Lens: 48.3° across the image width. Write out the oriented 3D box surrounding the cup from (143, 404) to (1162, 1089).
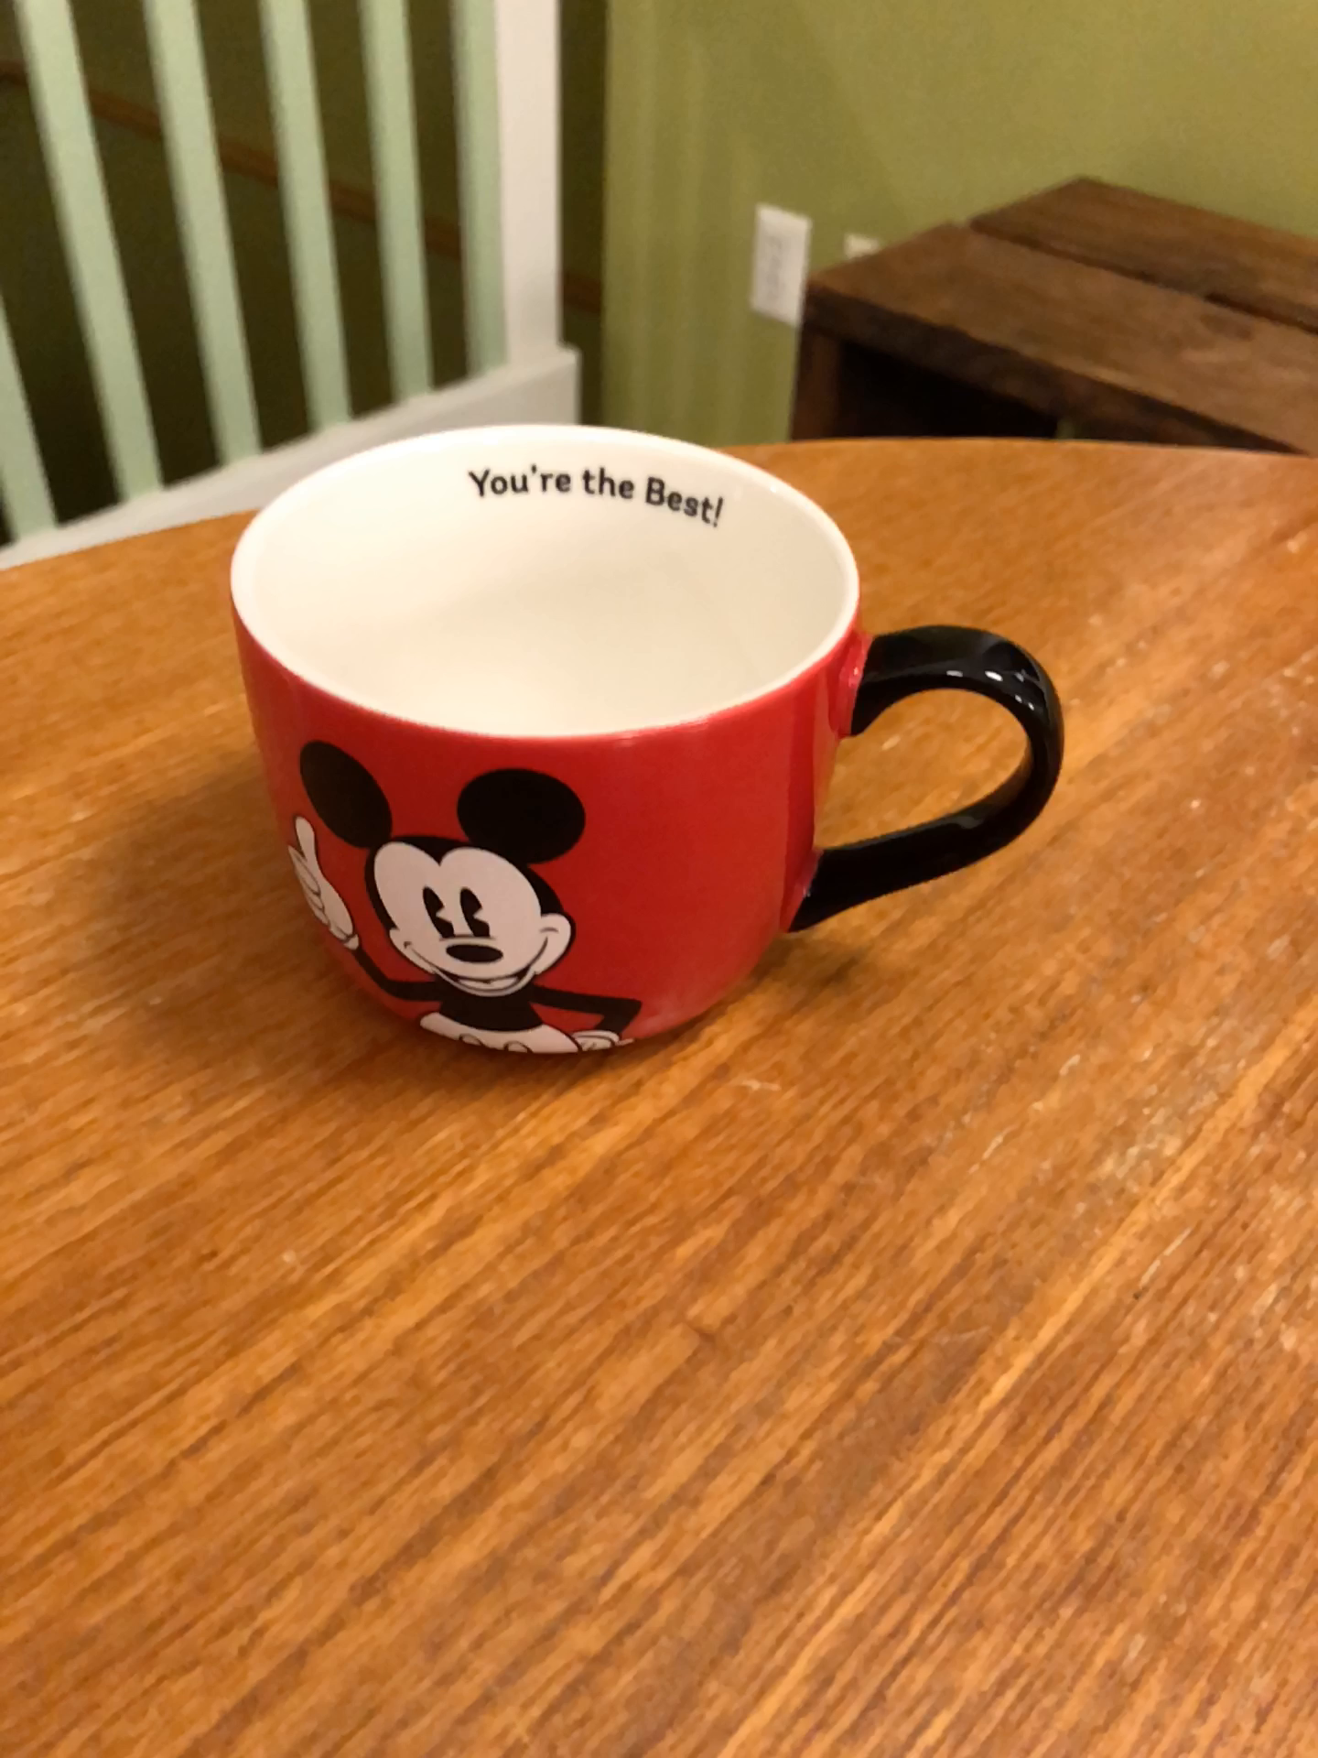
[{"bbox_3d":[0.000,-0.028,0.266,0.142,0.069,0.103,3,41,0],"label":"cup"}]
